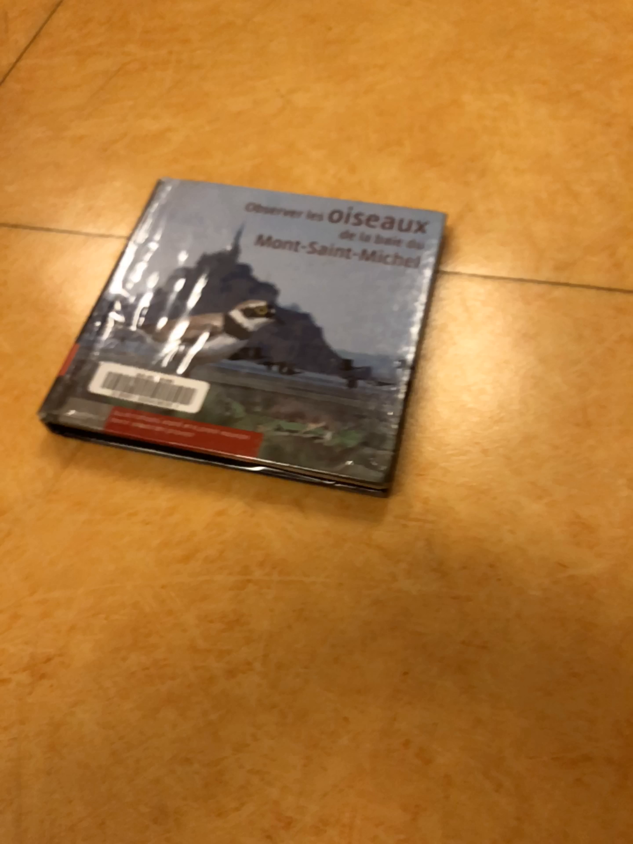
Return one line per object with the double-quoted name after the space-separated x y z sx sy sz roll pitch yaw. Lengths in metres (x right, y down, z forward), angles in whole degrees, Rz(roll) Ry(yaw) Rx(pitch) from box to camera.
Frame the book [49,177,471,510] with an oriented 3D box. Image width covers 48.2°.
-0.017 -0.047 0.325 0.153 0.015 0.156 10 59 11 "book"
